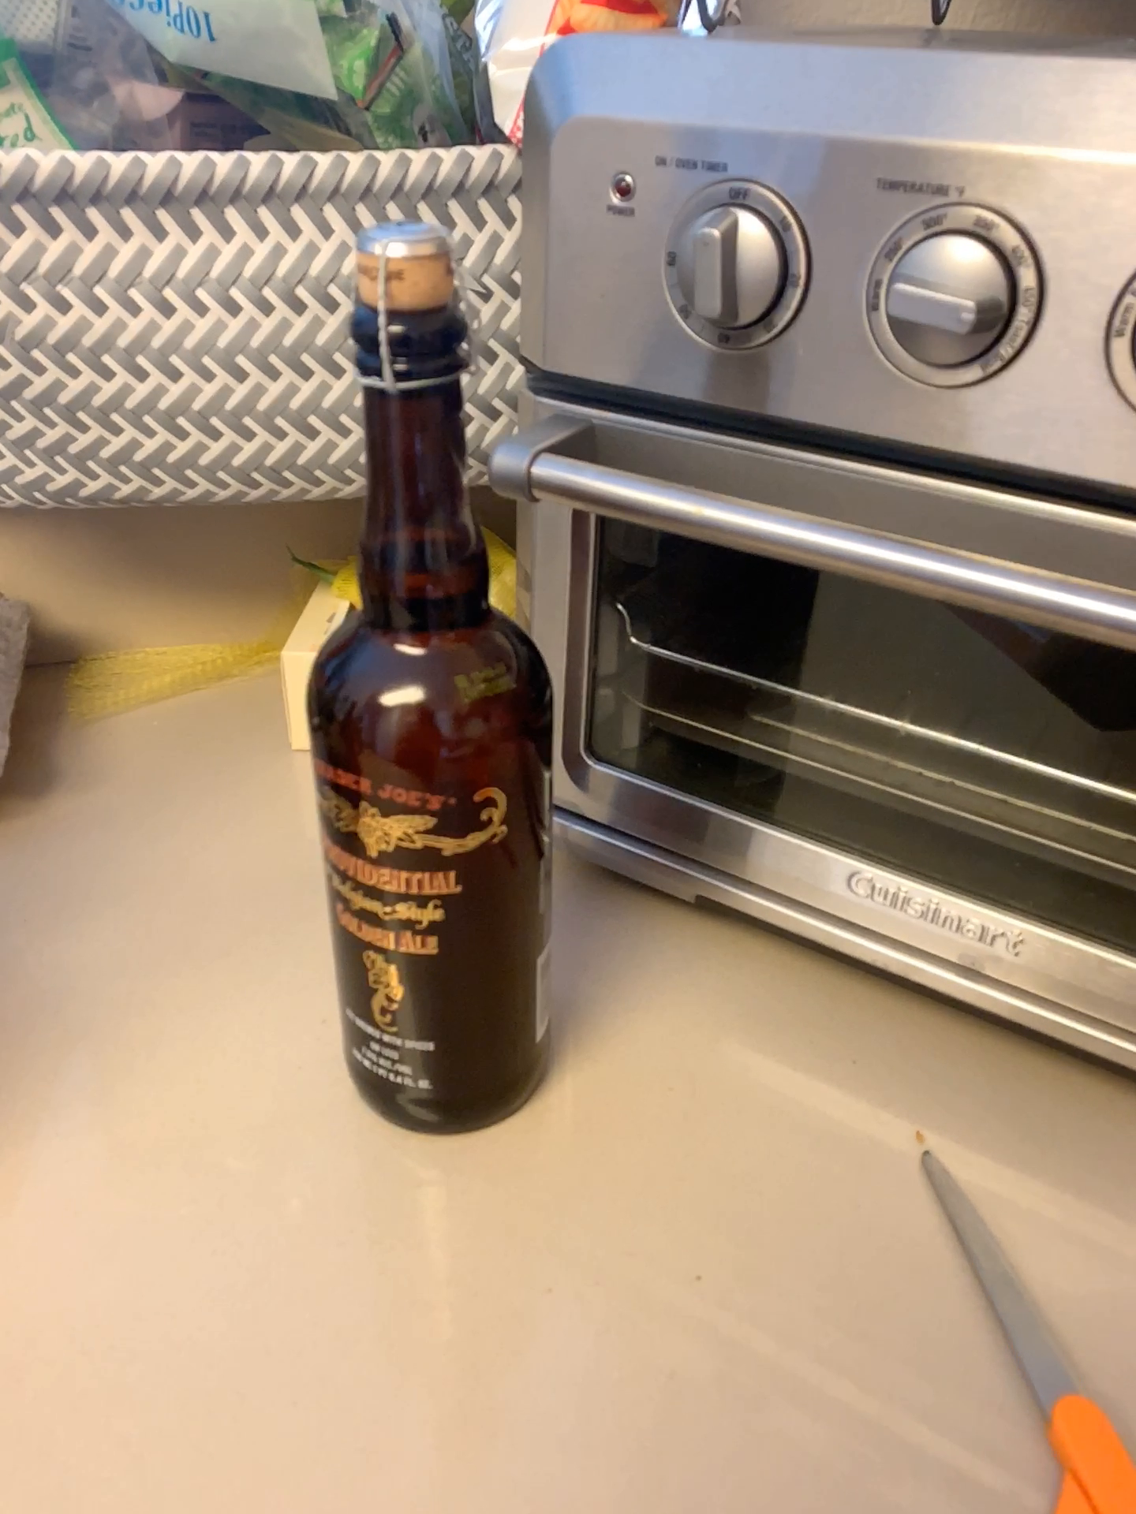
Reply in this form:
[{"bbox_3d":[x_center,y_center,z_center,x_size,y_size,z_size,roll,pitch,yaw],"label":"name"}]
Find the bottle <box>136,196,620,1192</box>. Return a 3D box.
[{"bbox_3d":[-0.048,-0.006,0.370,0.090,0.298,0.080,16,35,22],"label":"bottle"}]
